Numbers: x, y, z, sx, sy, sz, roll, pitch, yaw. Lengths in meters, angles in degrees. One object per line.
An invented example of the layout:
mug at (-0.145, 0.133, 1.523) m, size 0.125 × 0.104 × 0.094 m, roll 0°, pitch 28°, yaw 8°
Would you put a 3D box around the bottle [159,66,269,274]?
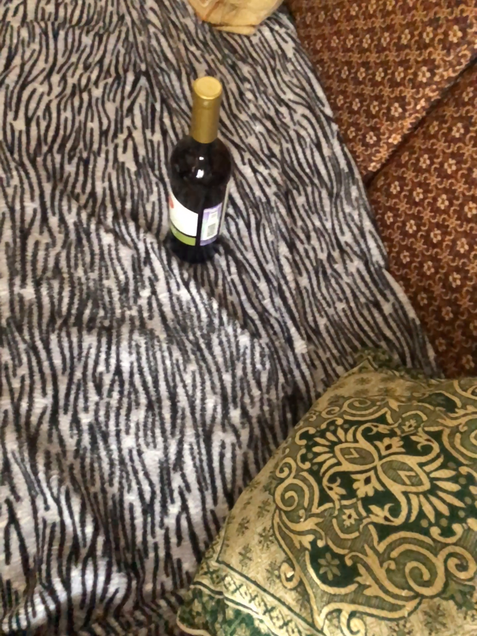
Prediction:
bottle at (-0.043, -0.159, 0.631) m, size 0.080 × 0.269 × 0.080 m, roll 4°, pitch 66°, yaw -9°
